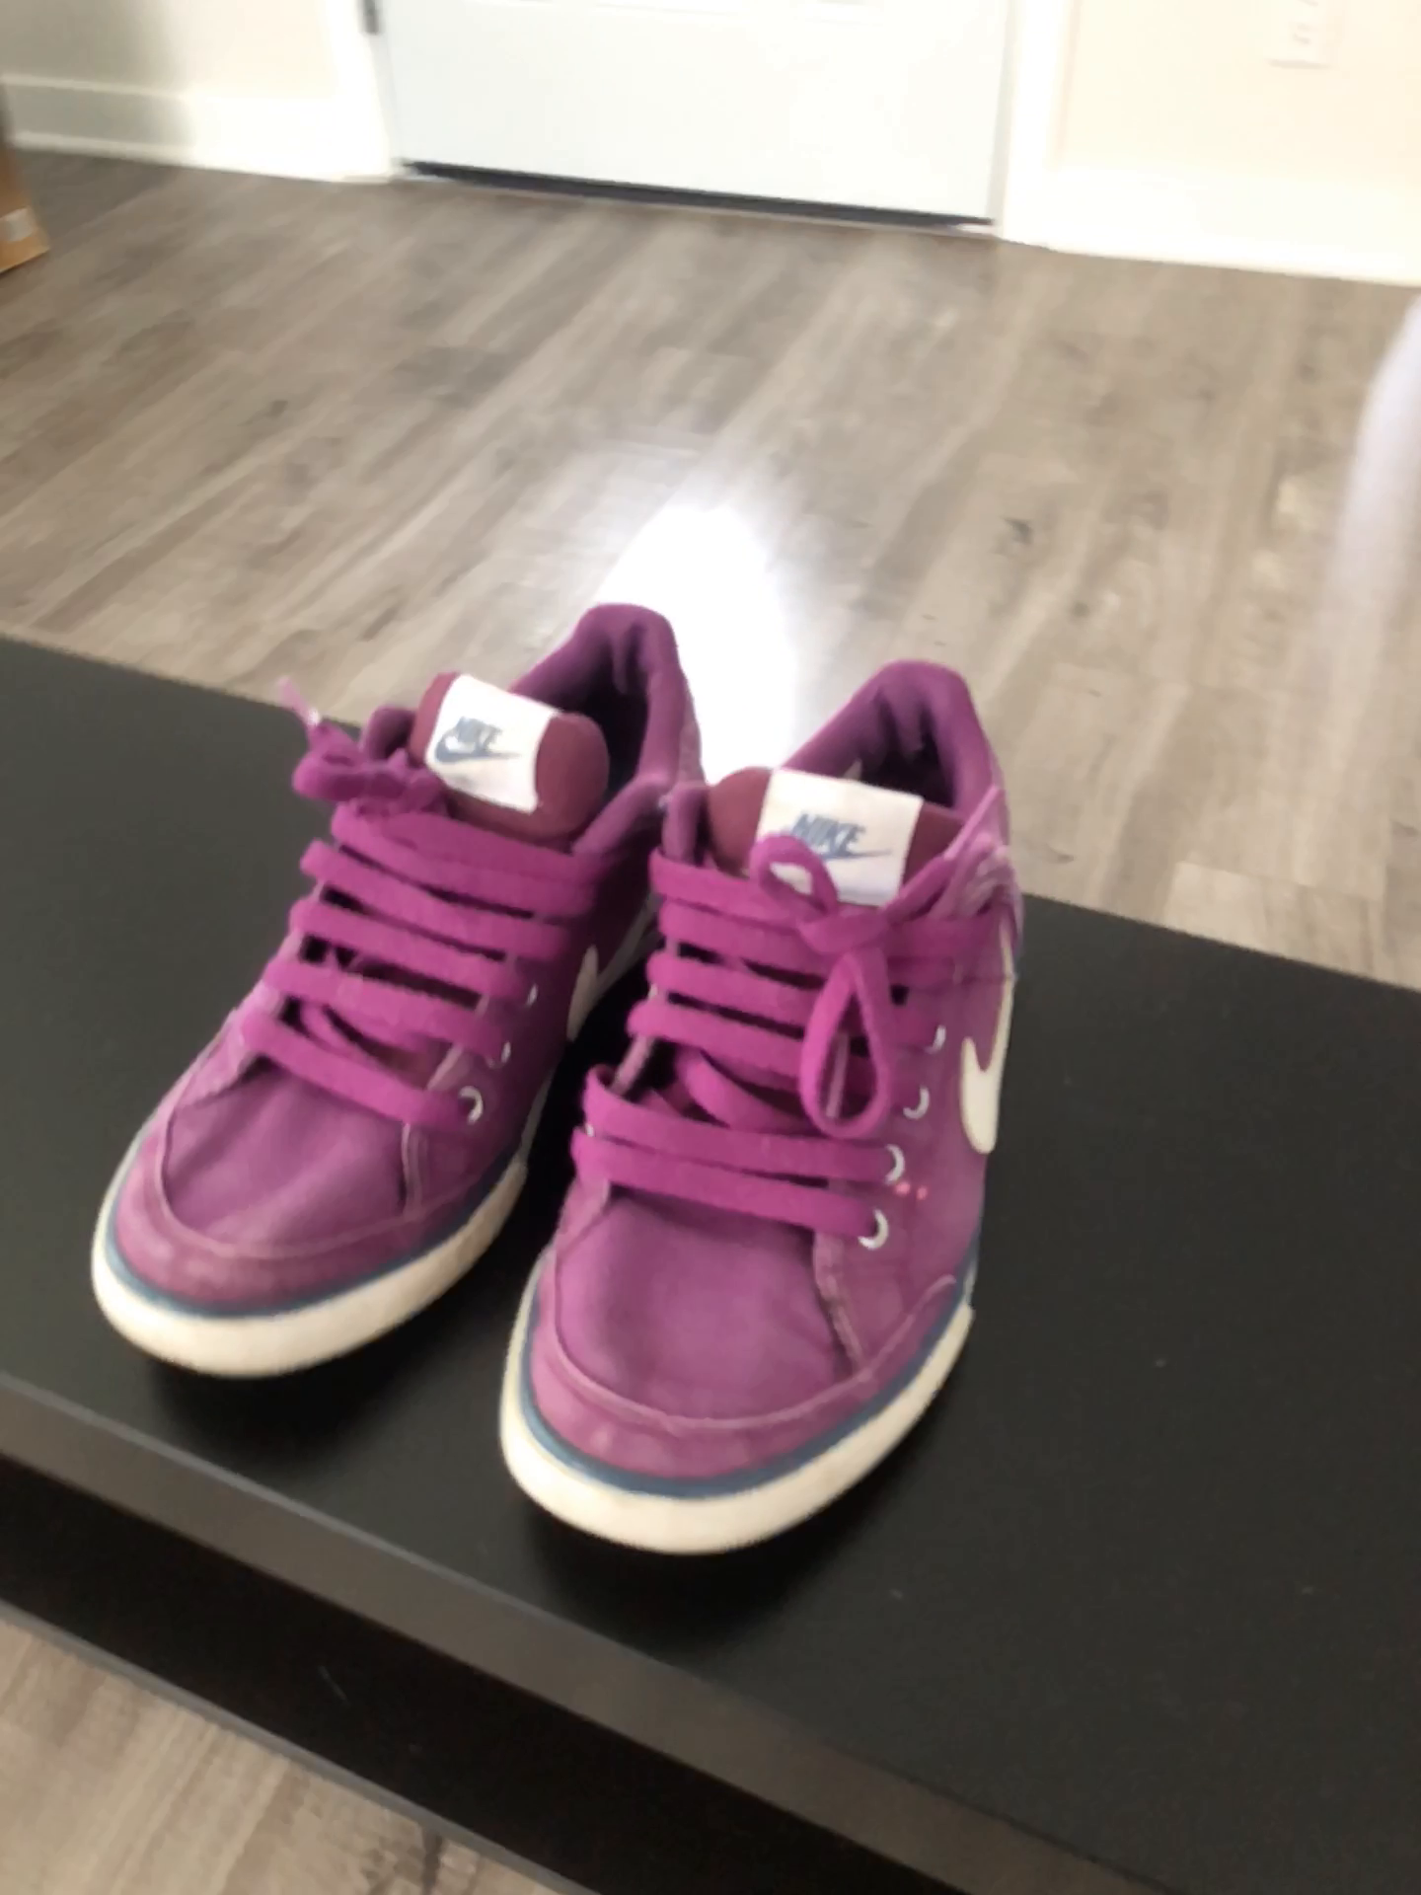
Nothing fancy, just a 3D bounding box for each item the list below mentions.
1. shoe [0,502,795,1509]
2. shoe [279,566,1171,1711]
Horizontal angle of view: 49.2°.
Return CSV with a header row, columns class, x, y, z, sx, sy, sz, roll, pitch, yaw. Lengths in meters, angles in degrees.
class,x,y,z,sx,sy,sz,roll,pitch,yaw
shoe,-0.071,-0.005,0.395,0.100,0.100,0.240,17,46,18
shoe,0.023,0.022,0.371,0.100,0.100,0.250,17,46,18
